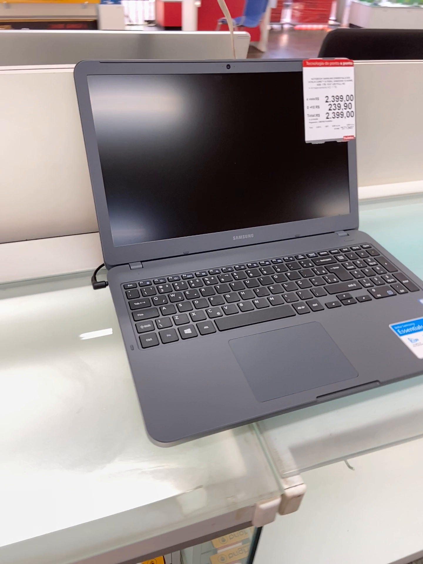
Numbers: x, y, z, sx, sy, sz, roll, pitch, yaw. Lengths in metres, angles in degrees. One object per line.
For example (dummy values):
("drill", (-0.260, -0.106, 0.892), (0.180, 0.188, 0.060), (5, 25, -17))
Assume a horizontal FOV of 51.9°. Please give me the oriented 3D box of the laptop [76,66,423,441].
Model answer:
("laptop", (0.073, -0.083, 0.469), (0.360, 0.197, 0.353), (-10, 40, -17))
